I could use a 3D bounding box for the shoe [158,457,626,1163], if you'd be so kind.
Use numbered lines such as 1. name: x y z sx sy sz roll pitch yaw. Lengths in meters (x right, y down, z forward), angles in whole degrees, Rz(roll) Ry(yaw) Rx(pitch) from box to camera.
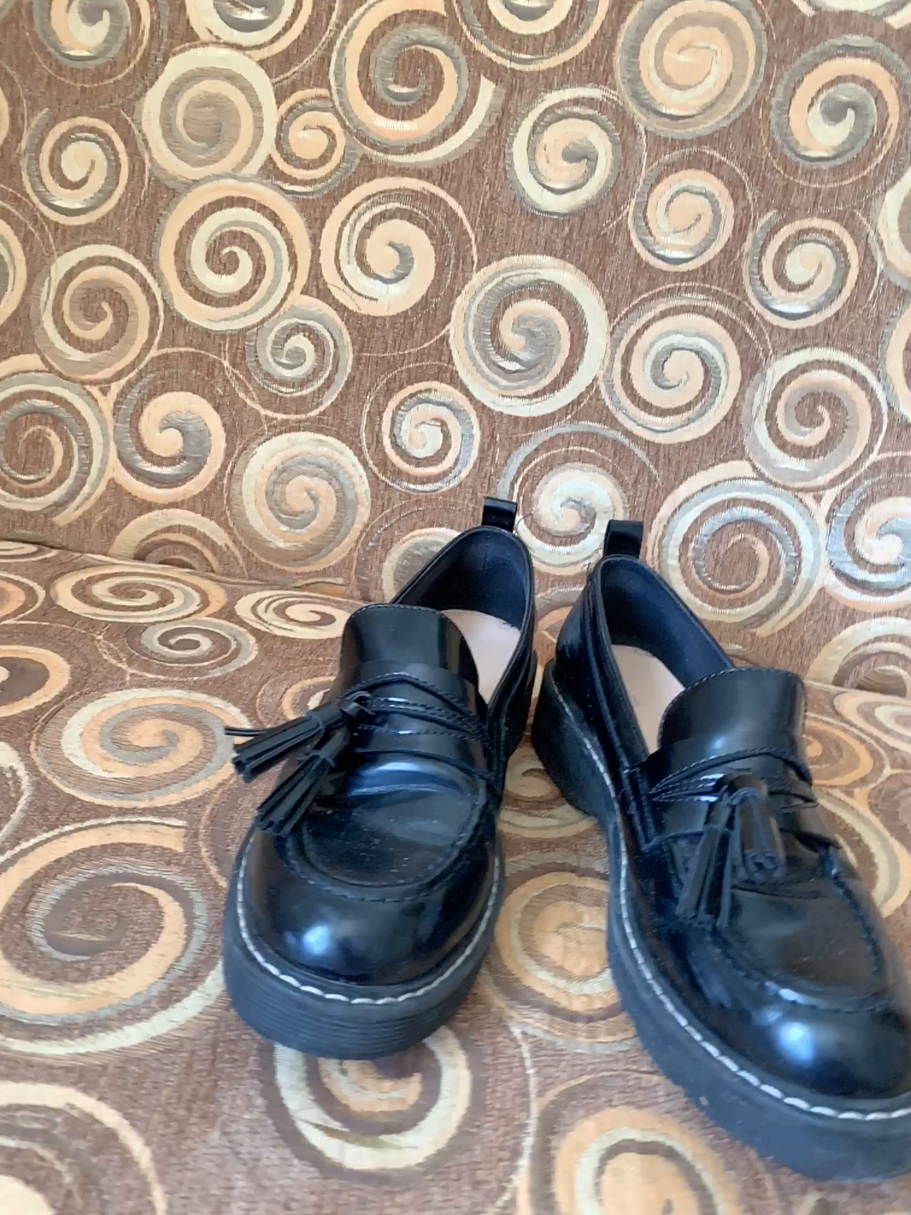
1. shoe: -0.003 0.039 0.335 0.090 0.099 0.241 13 29 8

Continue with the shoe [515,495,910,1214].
1. shoe: 0.096 0.058 0.317 0.090 0.099 0.241 2 29 -11
